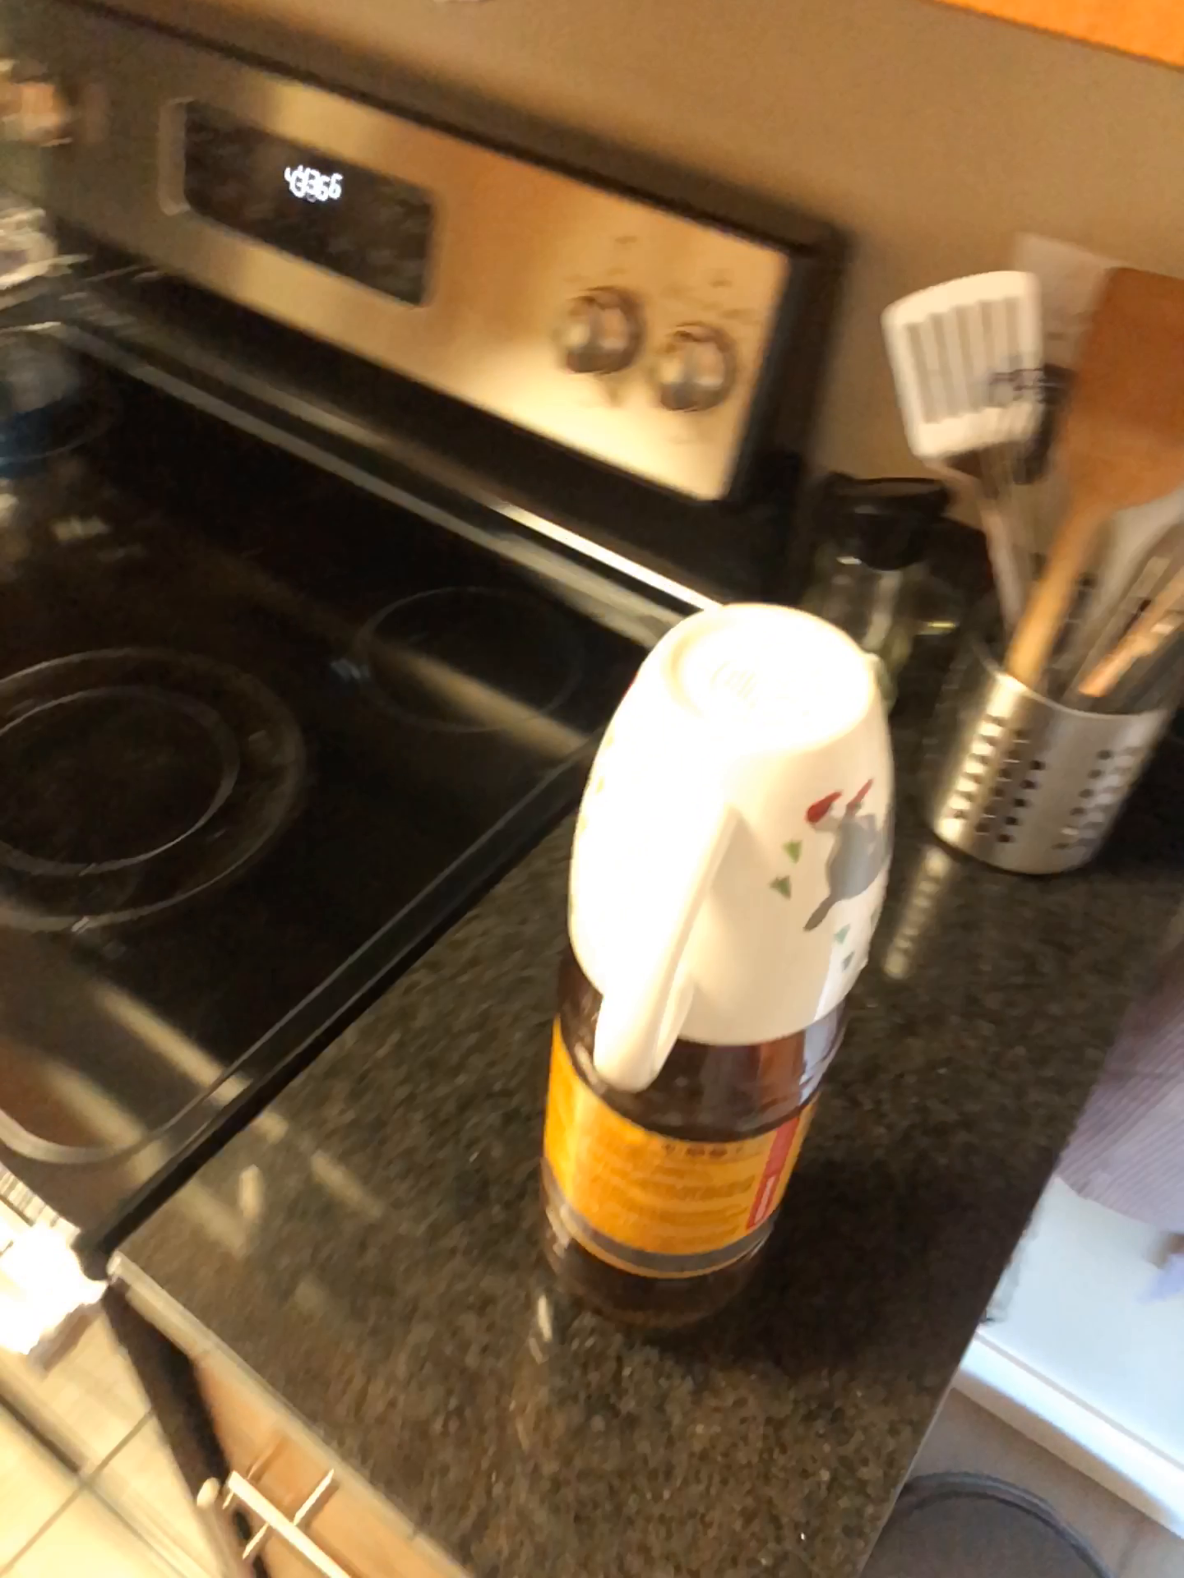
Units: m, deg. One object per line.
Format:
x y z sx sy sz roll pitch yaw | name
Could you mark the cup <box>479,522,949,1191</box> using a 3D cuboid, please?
0.037 0.016 0.383 0.100 0.110 0.141 13 45 5 | cup
